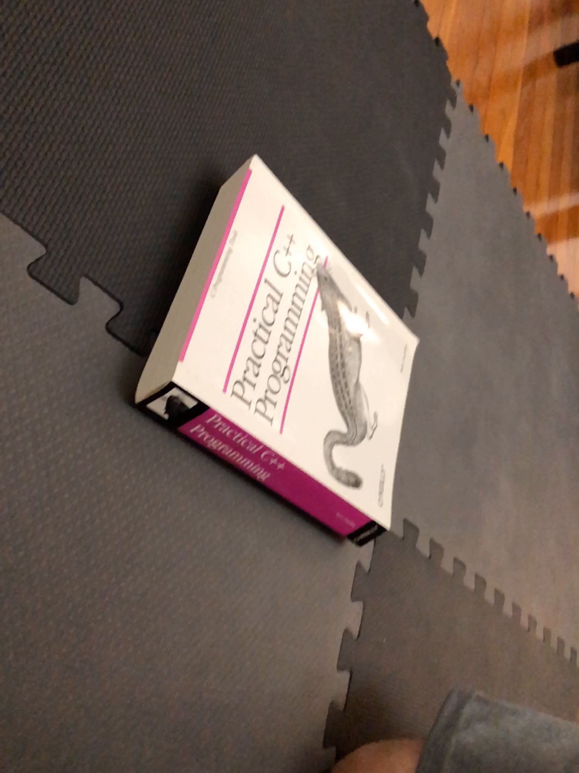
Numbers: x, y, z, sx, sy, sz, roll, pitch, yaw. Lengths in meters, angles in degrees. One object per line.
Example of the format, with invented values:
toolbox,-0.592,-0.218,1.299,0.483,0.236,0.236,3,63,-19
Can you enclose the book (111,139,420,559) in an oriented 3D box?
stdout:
book,0.011,-0.014,0.469,0.251,0.050,0.200,40,48,-39
